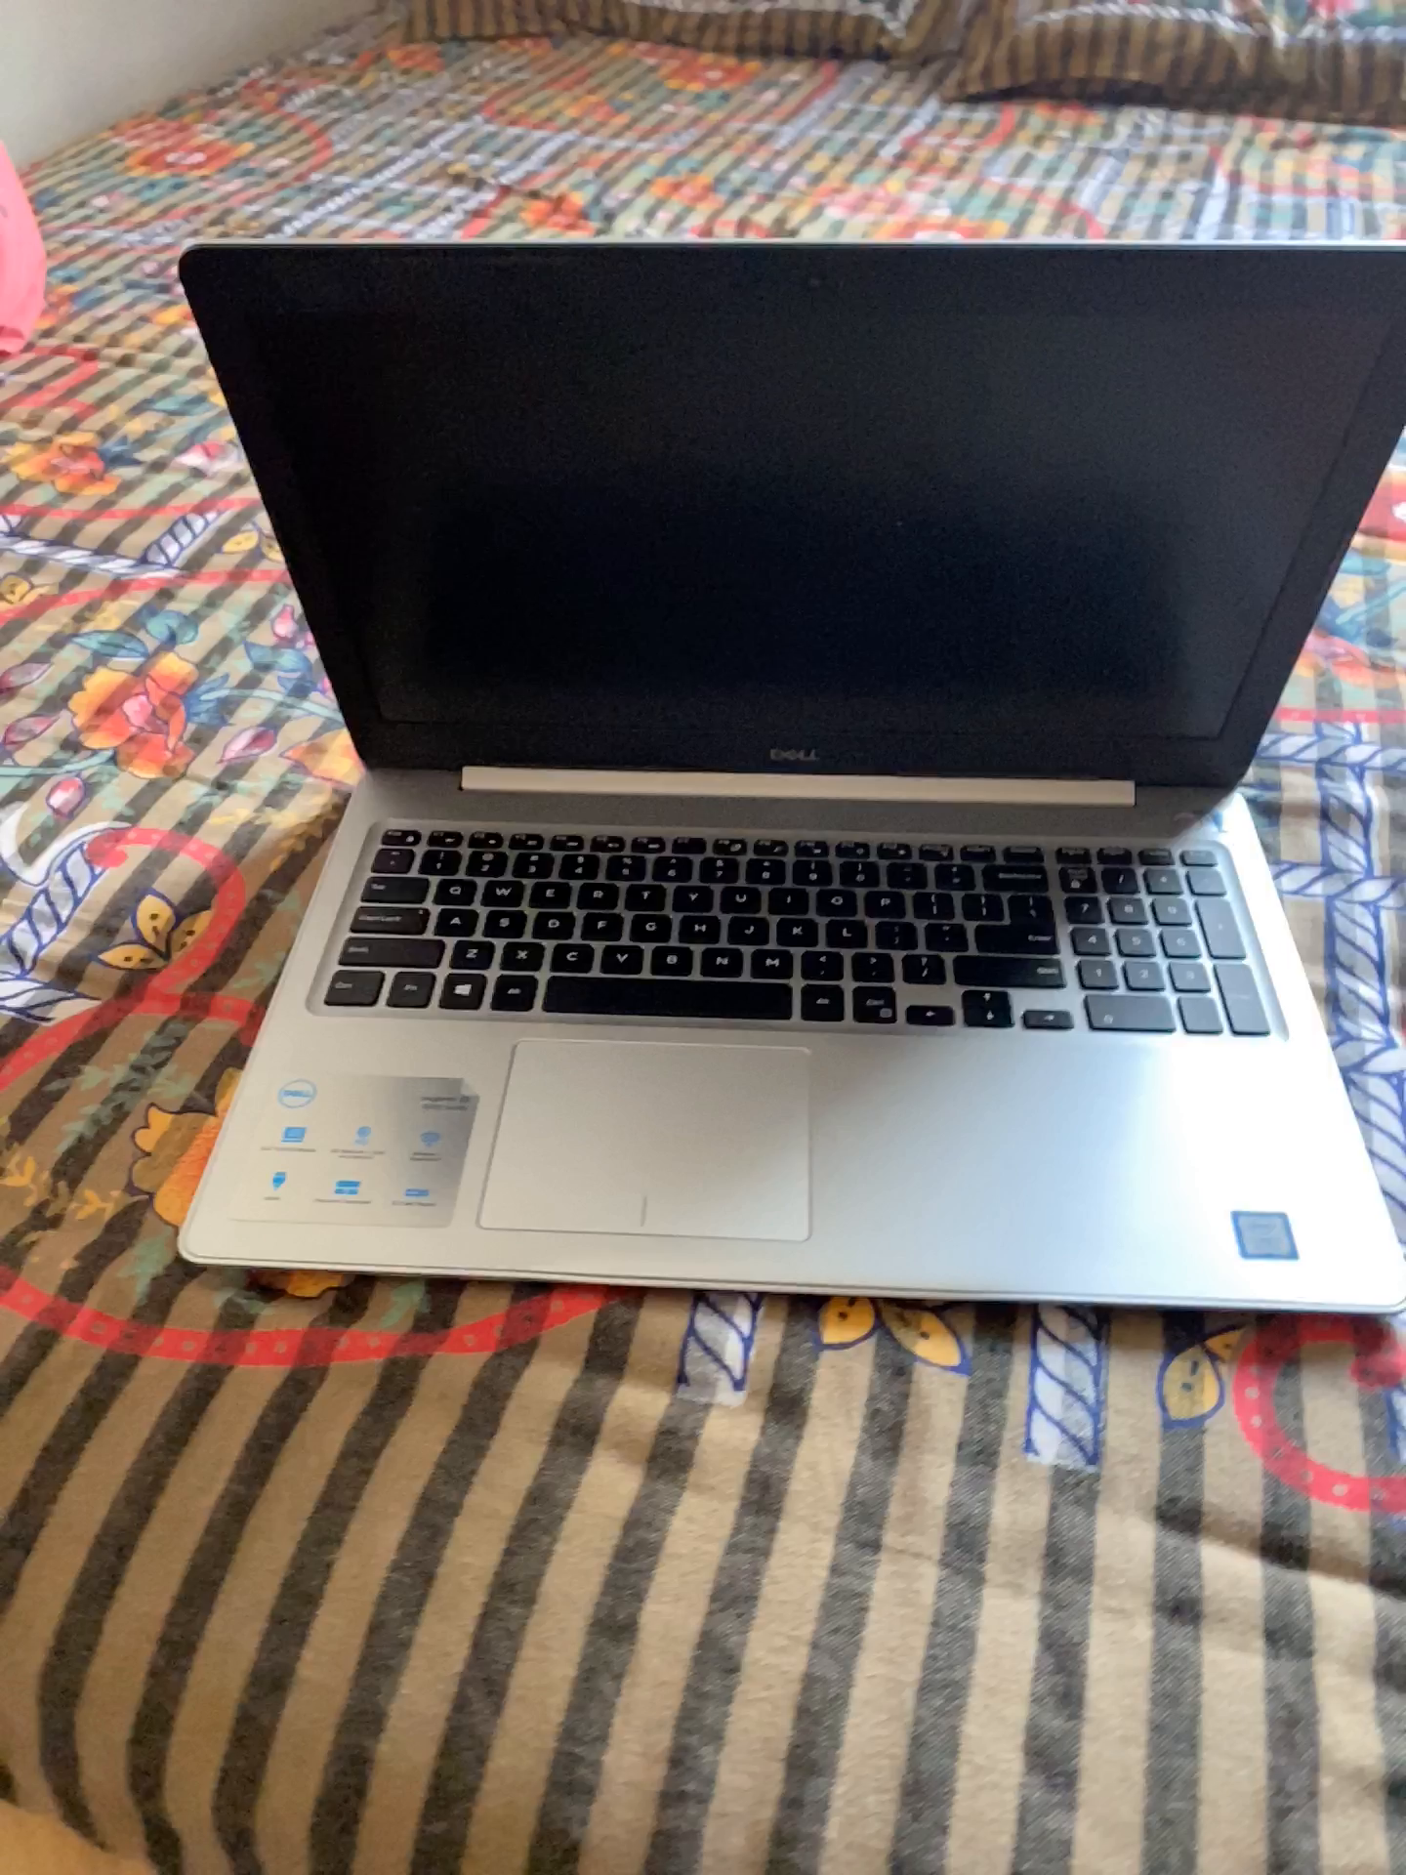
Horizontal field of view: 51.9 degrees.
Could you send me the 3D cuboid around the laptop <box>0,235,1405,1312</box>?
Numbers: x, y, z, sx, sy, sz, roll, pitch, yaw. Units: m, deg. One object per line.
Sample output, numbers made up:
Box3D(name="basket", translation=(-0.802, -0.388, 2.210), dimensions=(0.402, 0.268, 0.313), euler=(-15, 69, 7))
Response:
Box3D(name="laptop", translation=(0.025, -0.053, 0.440), dimensions=(0.373, 0.231, 0.211), euler=(2, 44, 4))
